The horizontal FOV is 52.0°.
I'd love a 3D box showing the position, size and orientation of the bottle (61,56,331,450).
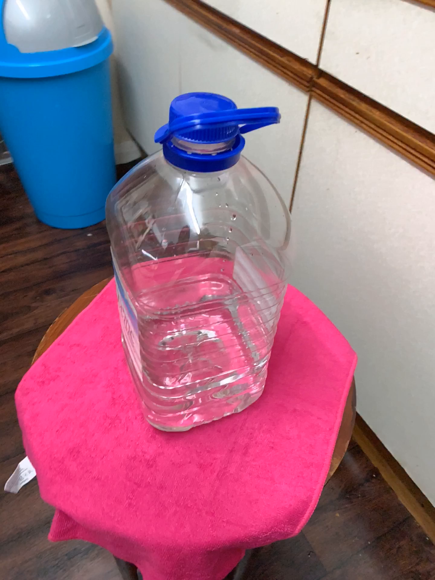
[{"bbox_3d":[-0.028,-0.013,0.422,0.140,0.327,0.151,1,46,-1],"label":"bottle"}]
